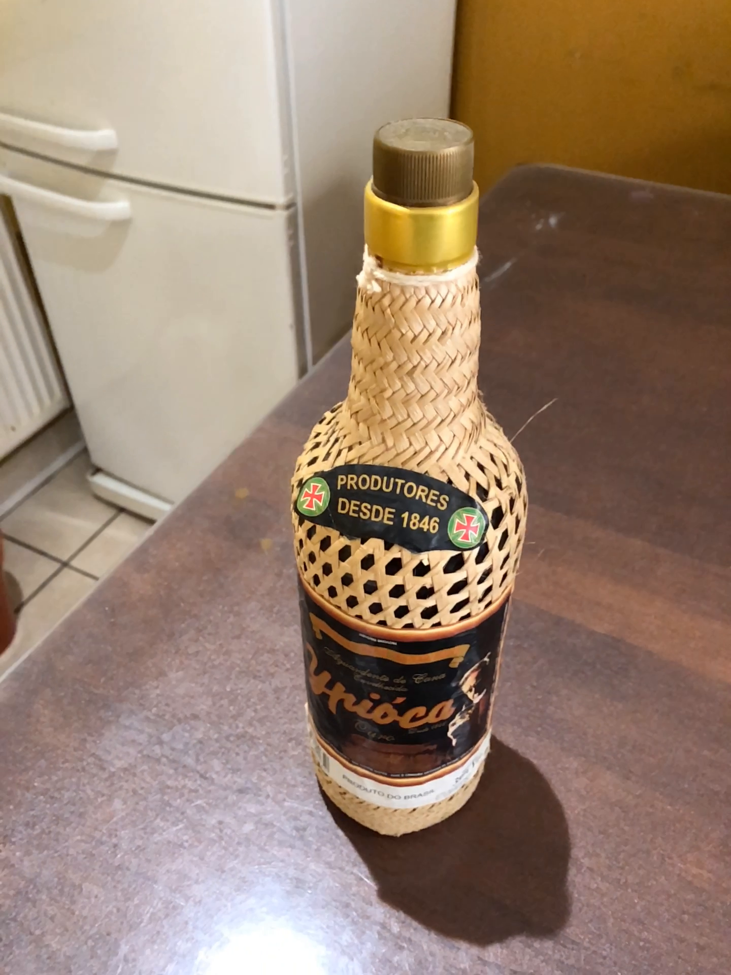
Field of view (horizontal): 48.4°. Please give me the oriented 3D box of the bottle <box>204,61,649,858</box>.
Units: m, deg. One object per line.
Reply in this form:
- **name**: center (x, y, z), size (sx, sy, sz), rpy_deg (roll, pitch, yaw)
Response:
- **bottle**: center (0.021, 0.023, 0.325), size (0.100, 0.327, 0.091), rpy_deg (6, 43, 8)
